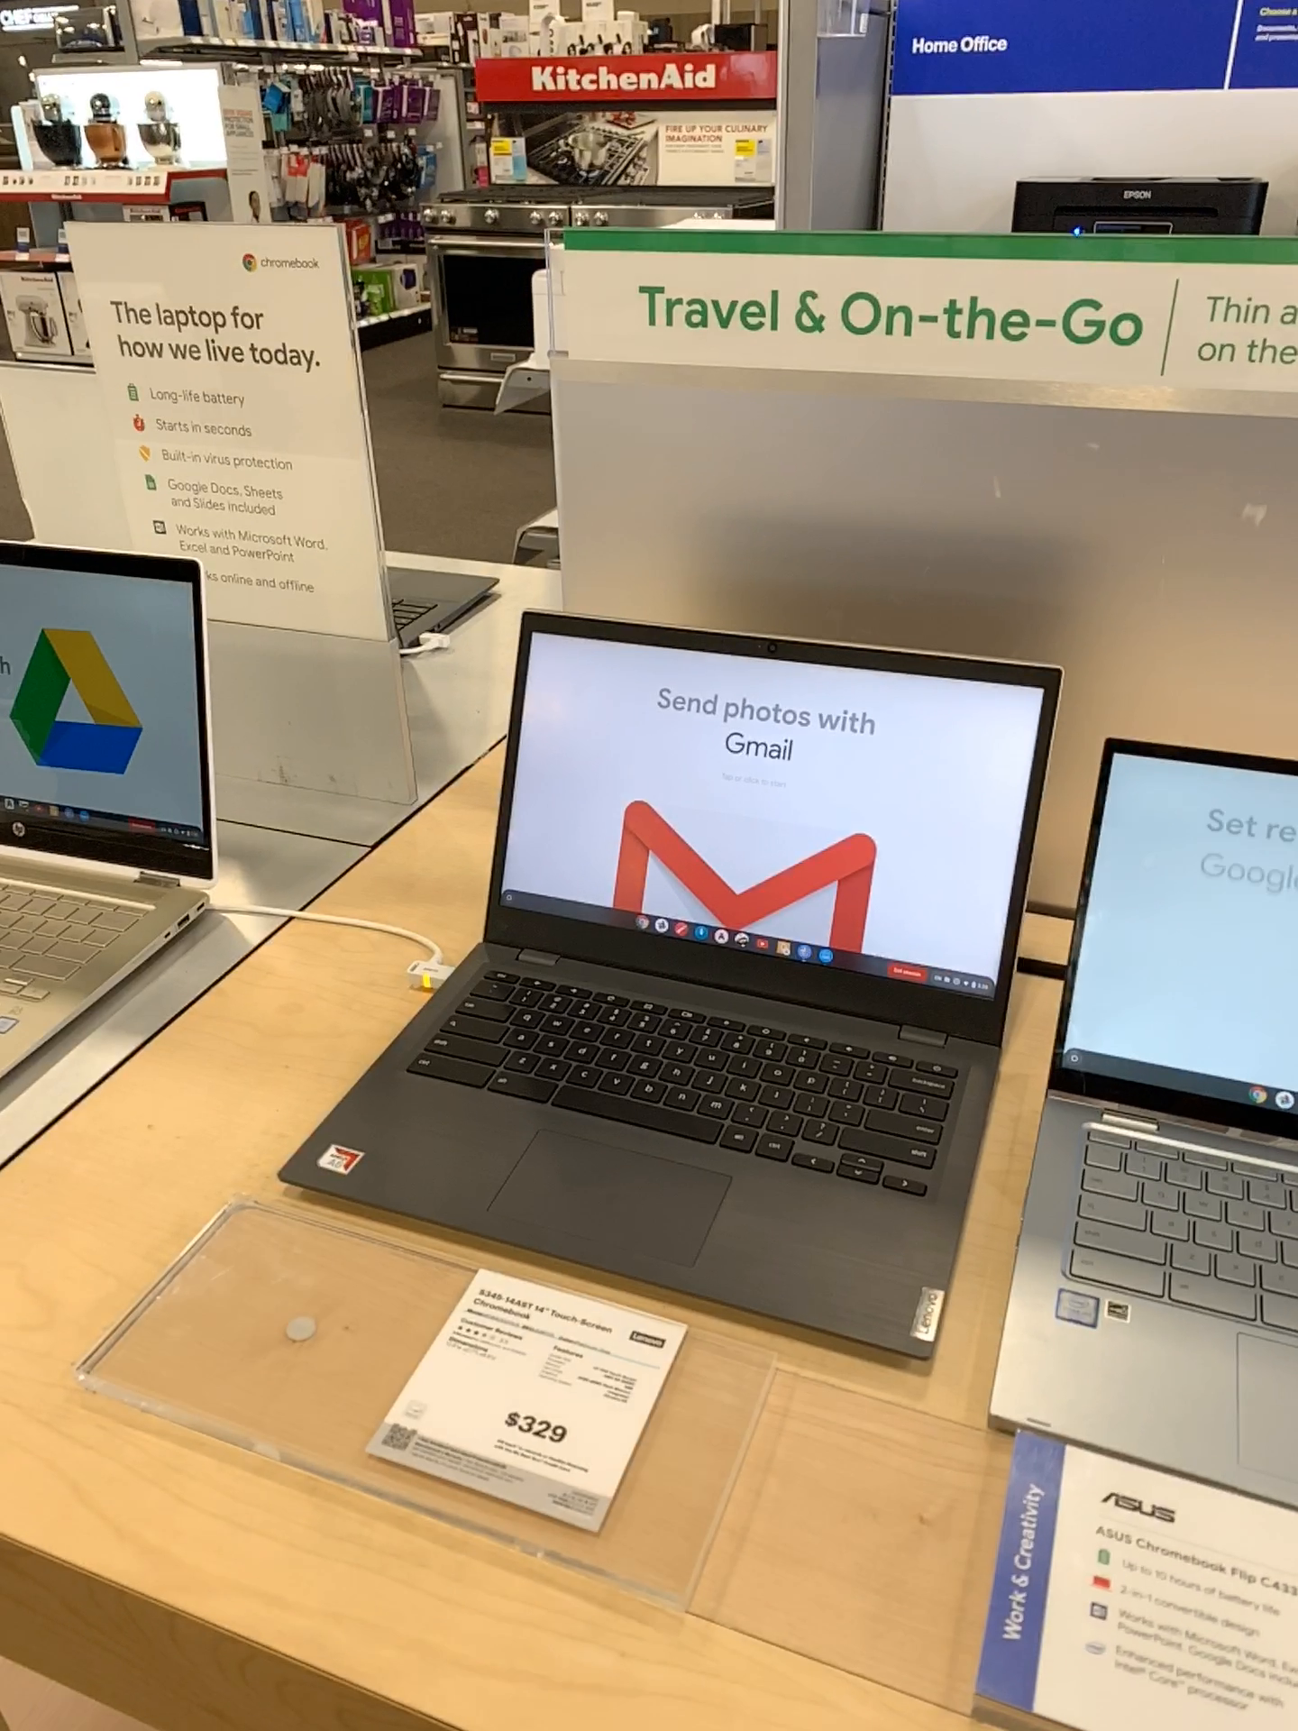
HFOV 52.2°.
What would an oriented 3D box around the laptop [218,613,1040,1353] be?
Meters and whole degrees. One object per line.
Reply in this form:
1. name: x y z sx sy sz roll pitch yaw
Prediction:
1. laptop: 0.014 0.025 0.683 0.310 0.188 0.300 10 32 19
